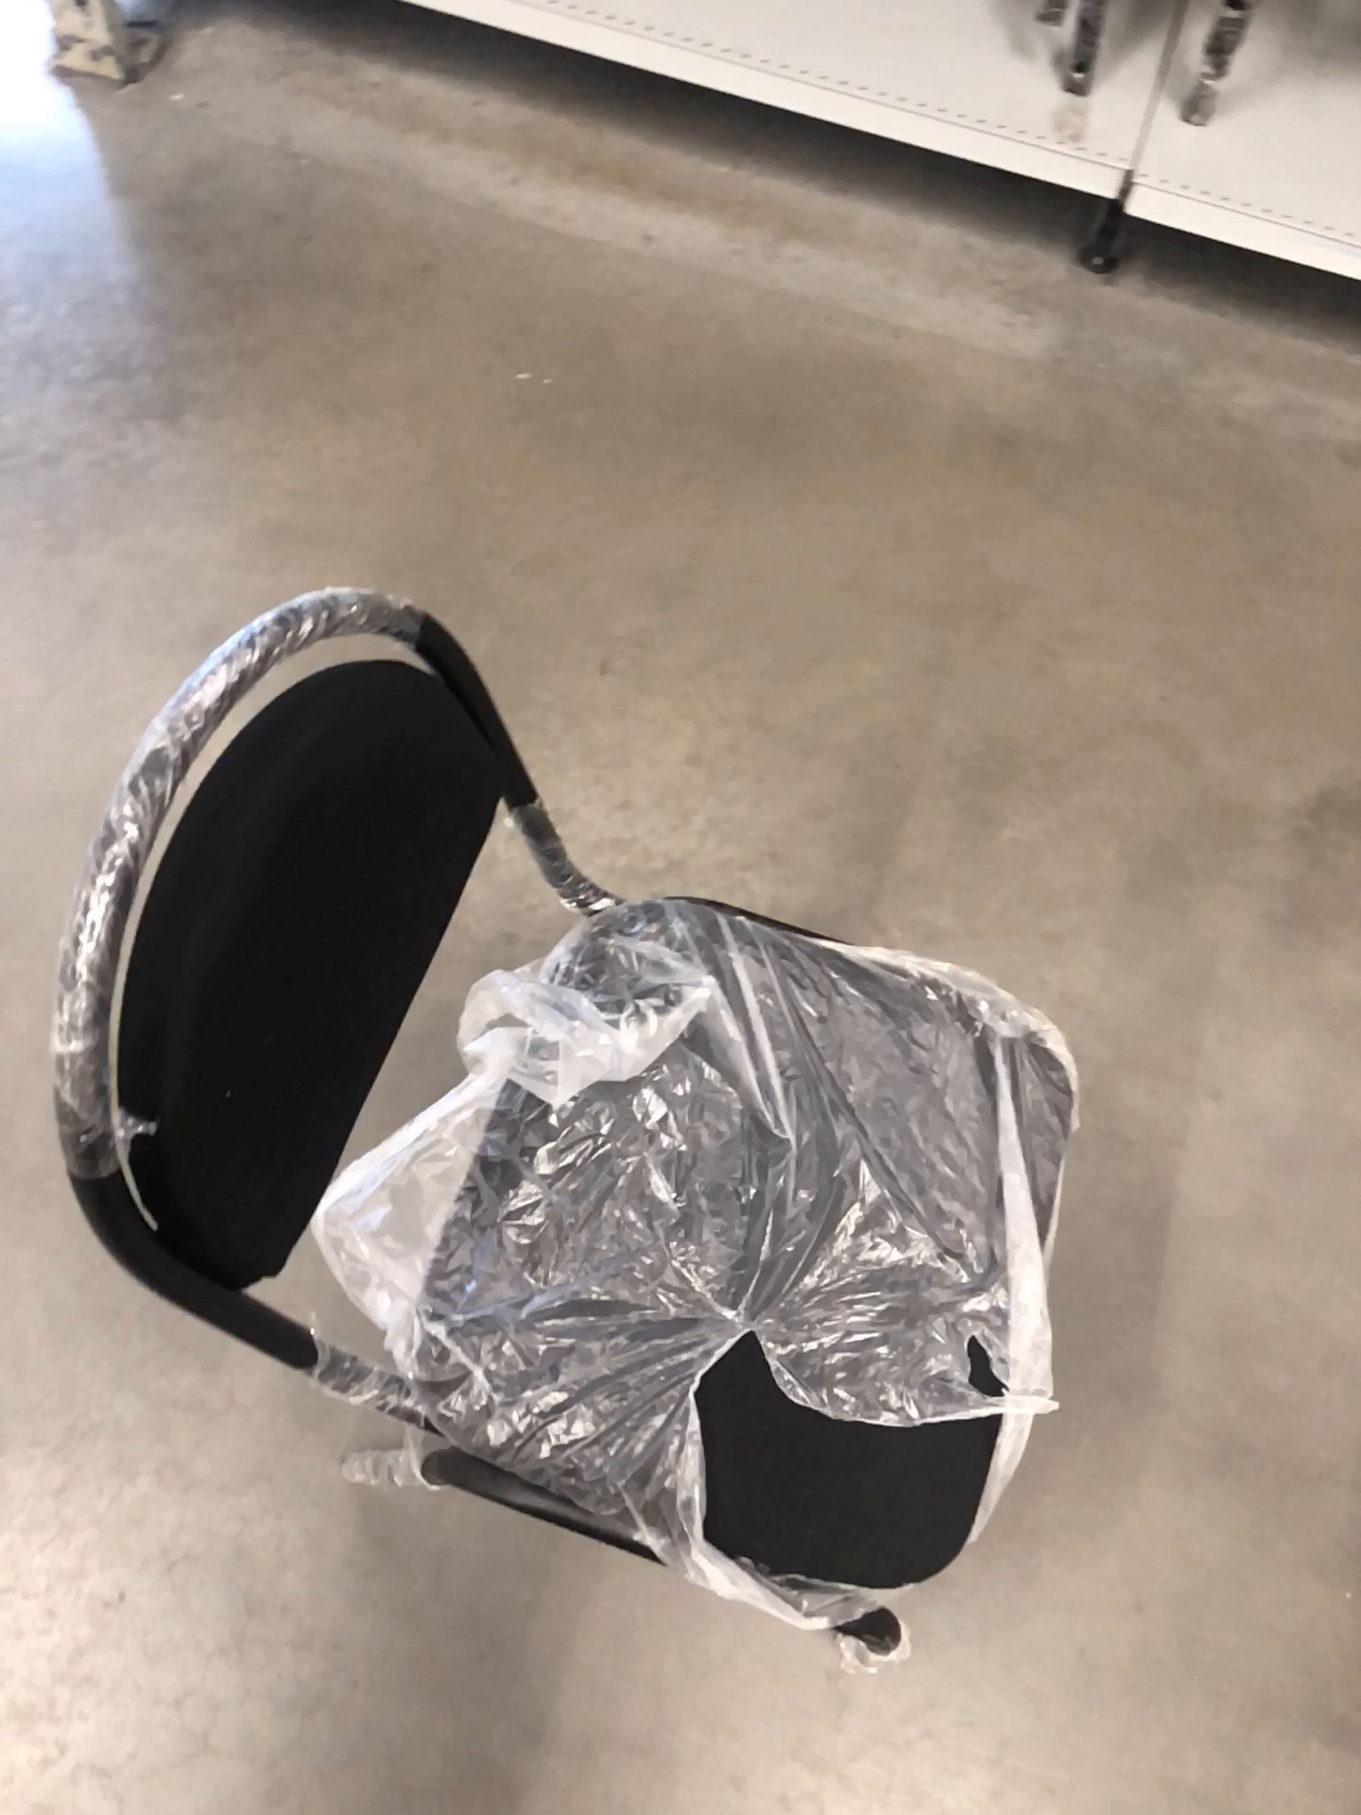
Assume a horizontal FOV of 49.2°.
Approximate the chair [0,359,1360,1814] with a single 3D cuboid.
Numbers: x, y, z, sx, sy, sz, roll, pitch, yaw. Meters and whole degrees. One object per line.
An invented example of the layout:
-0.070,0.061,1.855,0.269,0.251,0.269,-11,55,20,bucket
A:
0.001,0.202,0.980,0.550,0.877,0.451,19,66,5,chair
